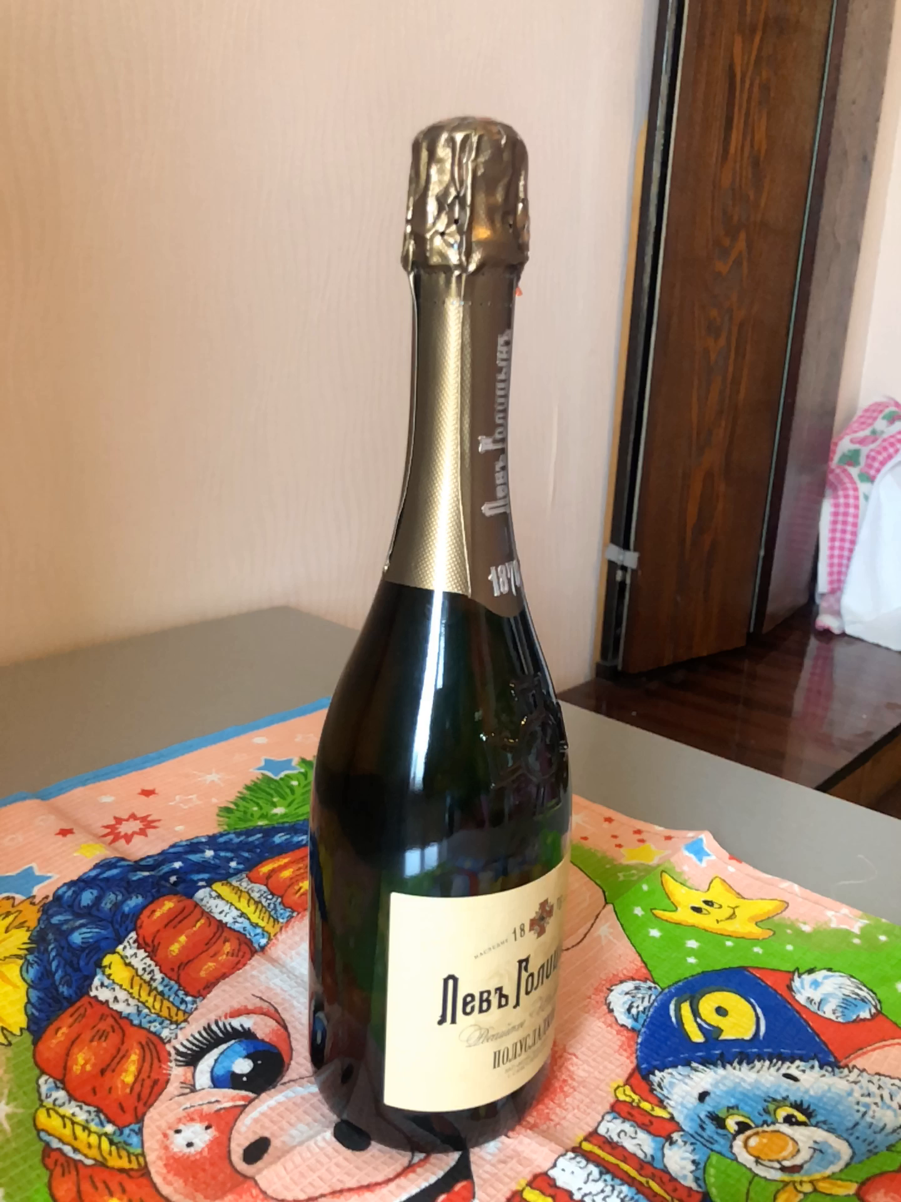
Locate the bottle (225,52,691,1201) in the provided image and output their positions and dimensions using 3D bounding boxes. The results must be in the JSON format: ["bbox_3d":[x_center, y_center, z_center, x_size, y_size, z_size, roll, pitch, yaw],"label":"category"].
[{"bbox_3d":[-0.003,0.013,0.316,0.093,0.309,0.090,2,16,-1],"label":"bottle"}]
